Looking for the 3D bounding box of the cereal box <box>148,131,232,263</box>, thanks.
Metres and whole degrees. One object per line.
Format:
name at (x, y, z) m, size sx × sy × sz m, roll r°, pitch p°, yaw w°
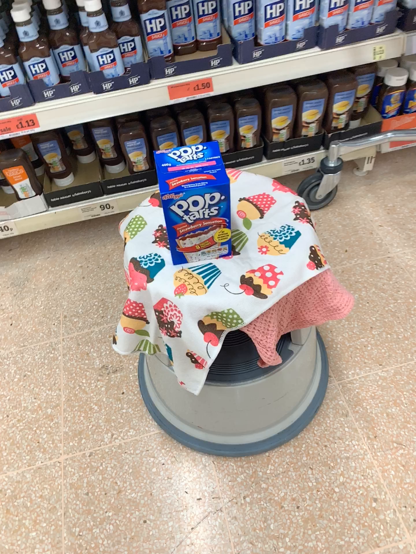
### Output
cereal box at (-0.024, -0.111, 0.600) m, size 0.090 × 0.139 × 0.101 m, roll -10°, pitch 50°, yaw -2°
